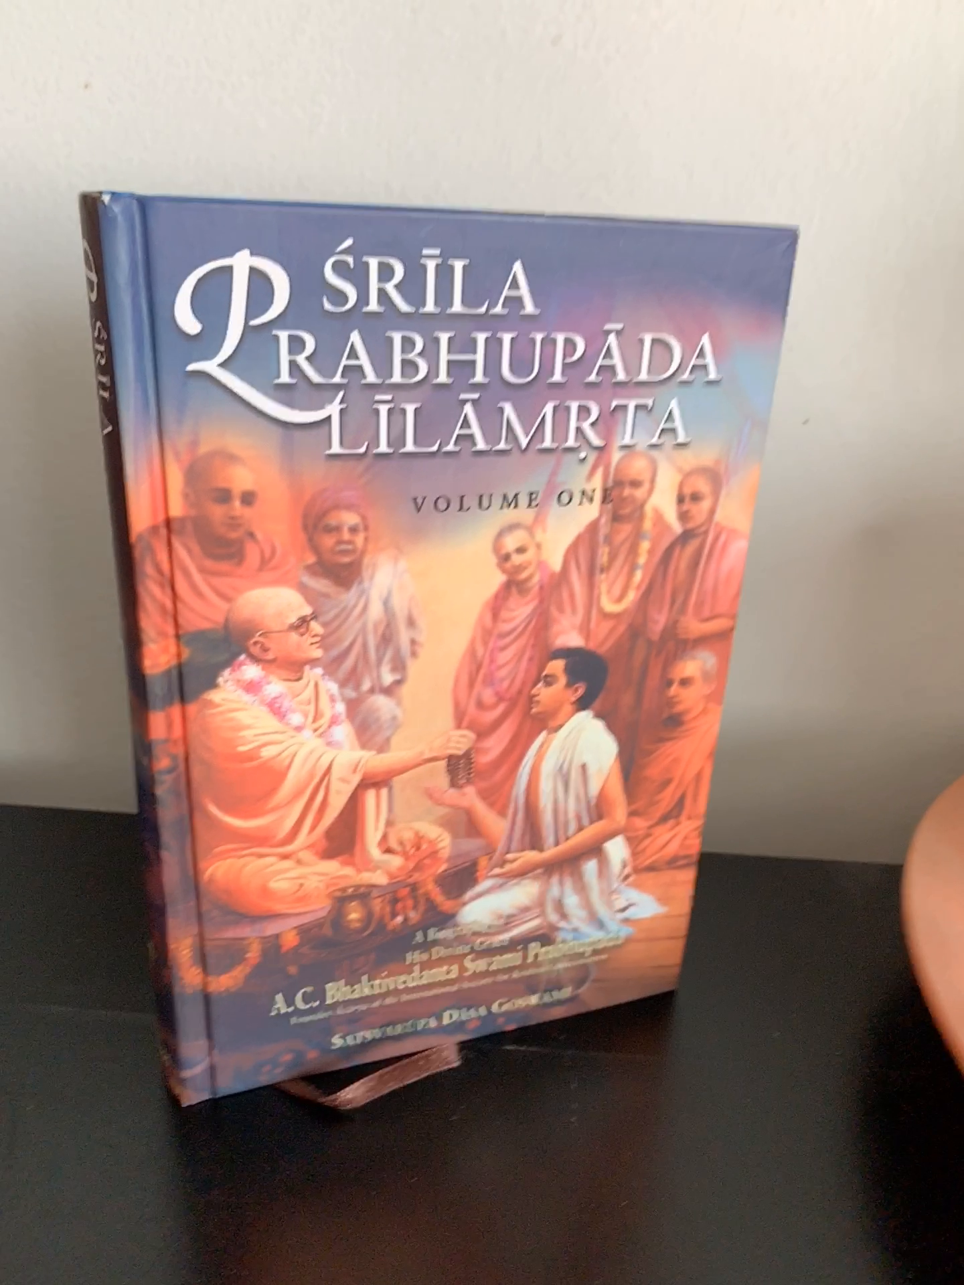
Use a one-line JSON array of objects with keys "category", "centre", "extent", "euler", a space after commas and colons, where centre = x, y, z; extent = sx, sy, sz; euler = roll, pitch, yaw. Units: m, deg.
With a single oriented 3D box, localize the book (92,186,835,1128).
[{"category": "book", "centre": [-0.005, 0.012, 0.267], "extent": [0.162, 0.233, 0.030], "euler": [-5, 24, -18]}]
